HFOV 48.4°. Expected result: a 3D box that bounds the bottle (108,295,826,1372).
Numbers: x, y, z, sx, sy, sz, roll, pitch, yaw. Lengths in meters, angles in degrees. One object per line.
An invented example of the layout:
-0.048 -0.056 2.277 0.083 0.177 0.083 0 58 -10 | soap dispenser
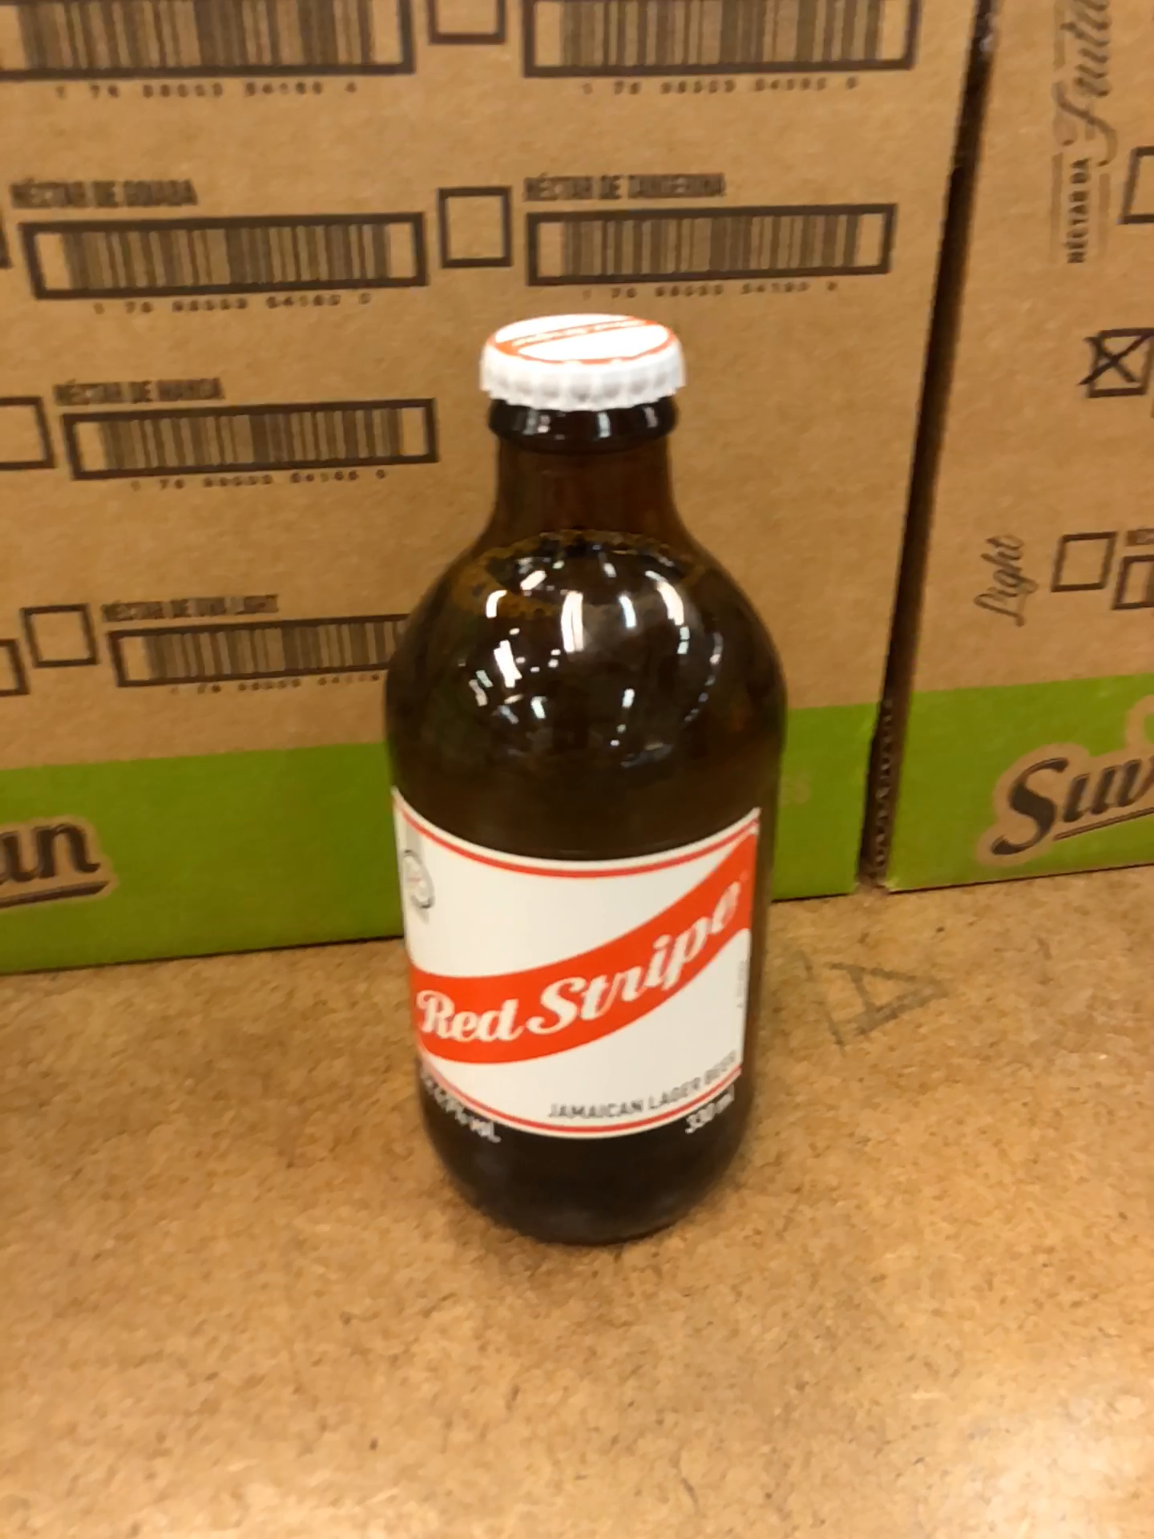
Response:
-0.007 0.013 0.211 0.080 0.159 0.070 4 32 7 | bottle
